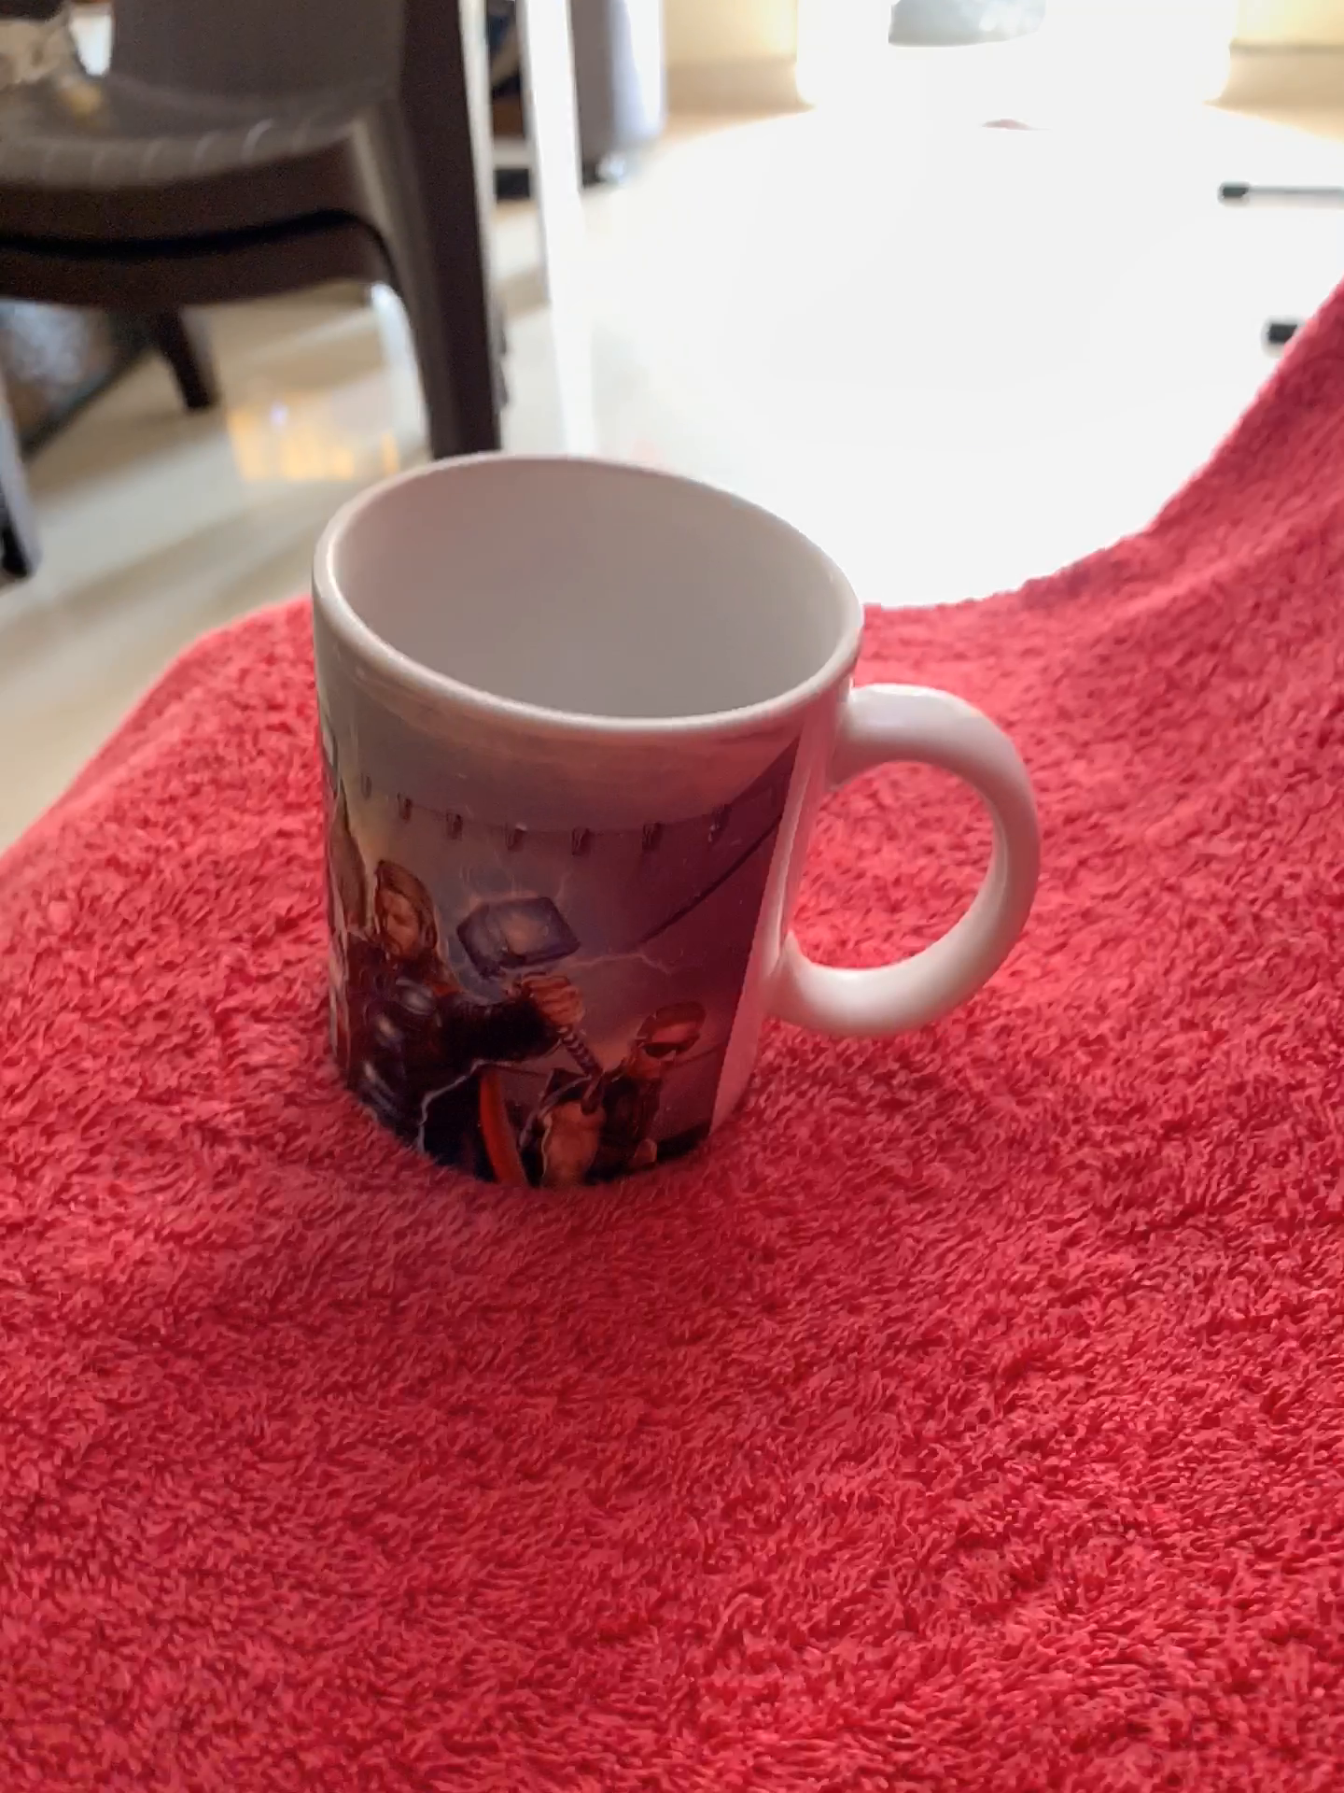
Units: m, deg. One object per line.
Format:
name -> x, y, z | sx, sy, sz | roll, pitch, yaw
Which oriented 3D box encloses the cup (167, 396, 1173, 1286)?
cup -> 0.002, -0.010, 0.229 | 0.120, 0.089, 0.091 | 9, 45, 3
